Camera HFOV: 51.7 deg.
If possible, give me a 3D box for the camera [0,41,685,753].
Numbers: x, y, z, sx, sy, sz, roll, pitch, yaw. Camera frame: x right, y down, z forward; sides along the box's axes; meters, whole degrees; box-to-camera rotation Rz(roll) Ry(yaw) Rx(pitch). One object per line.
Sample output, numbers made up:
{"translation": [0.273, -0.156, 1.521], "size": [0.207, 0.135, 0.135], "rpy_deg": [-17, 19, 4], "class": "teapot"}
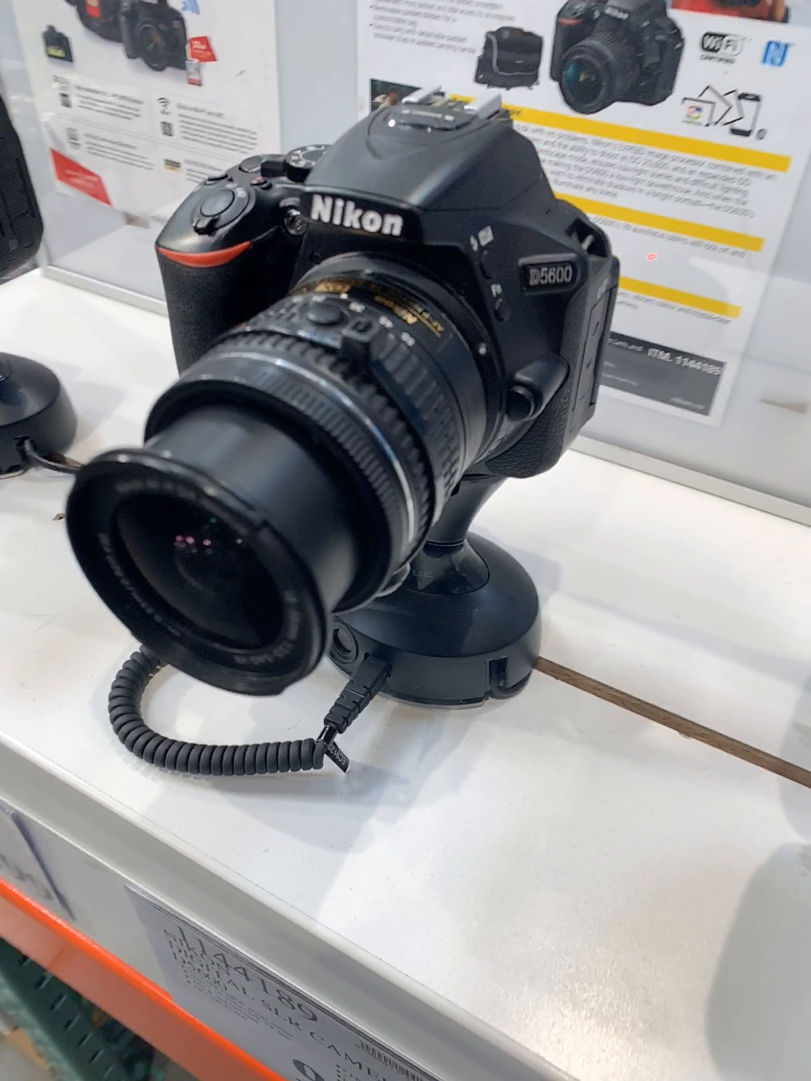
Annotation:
{"translation": [-0.014, -0.050, 0.201], "size": [0.111, 0.090, 0.141], "rpy_deg": [19, 44, 18], "class": "camera"}
